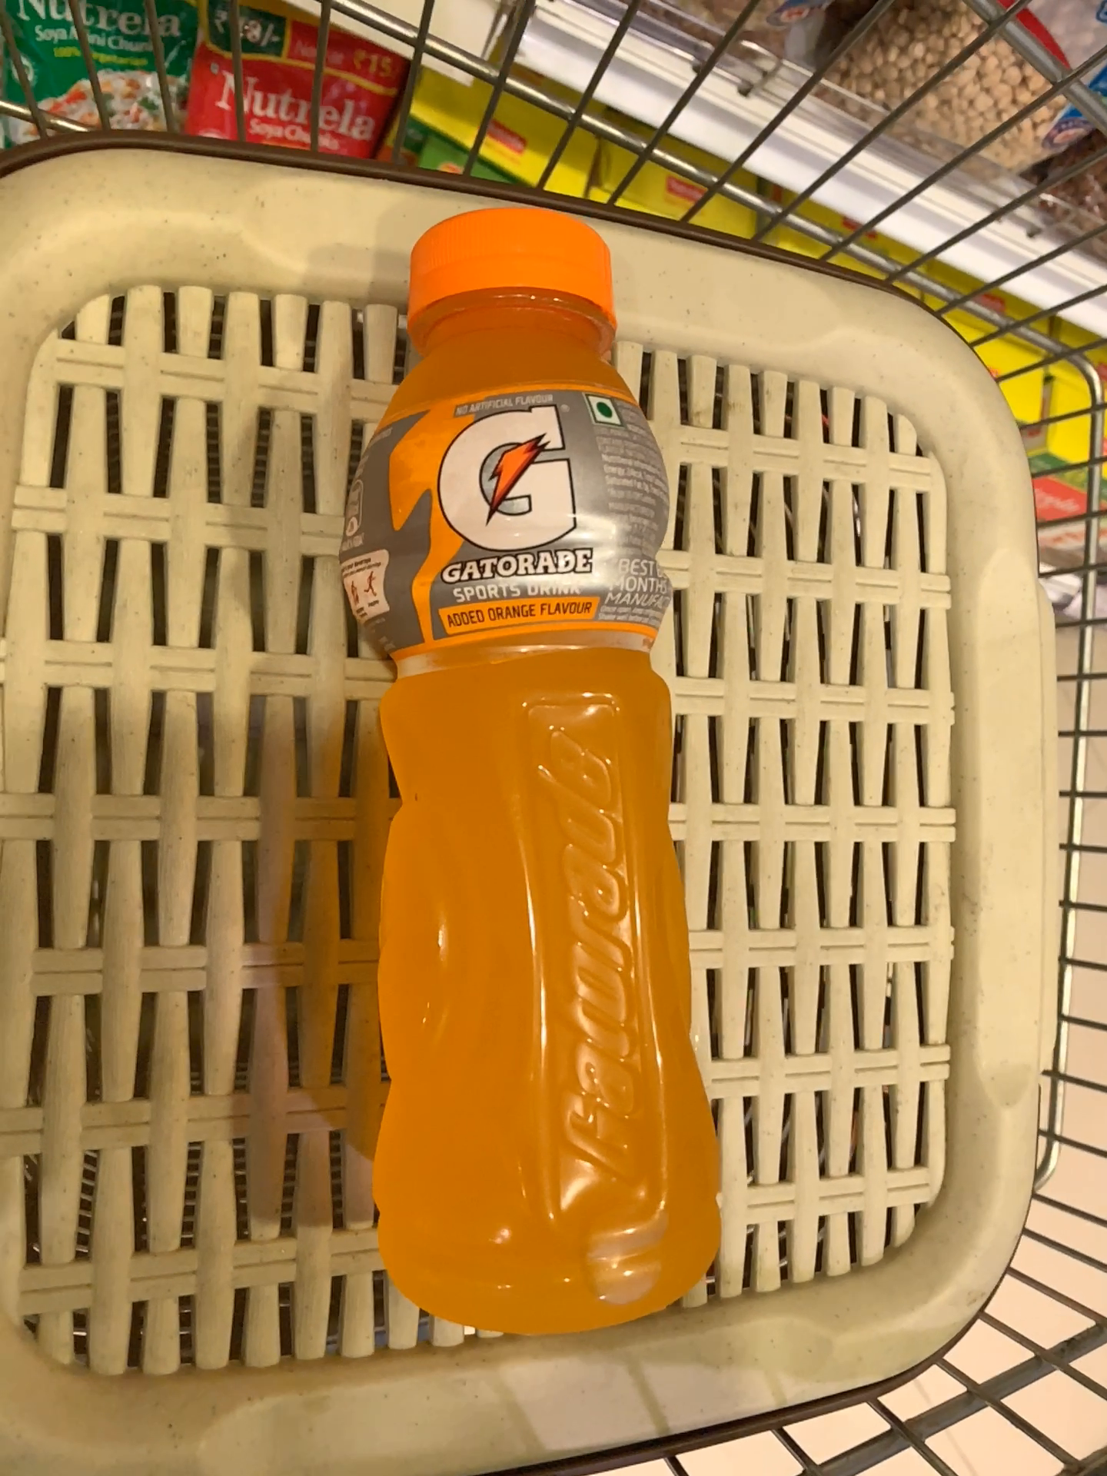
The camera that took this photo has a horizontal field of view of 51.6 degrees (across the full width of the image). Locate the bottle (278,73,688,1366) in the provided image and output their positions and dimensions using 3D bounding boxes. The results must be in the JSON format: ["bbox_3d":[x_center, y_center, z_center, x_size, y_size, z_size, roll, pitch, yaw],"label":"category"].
[{"bbox_3d":[-0.010,-0.003,0.219,0.060,0.060,0.210,-3,86,8],"label":"bottle"}]
